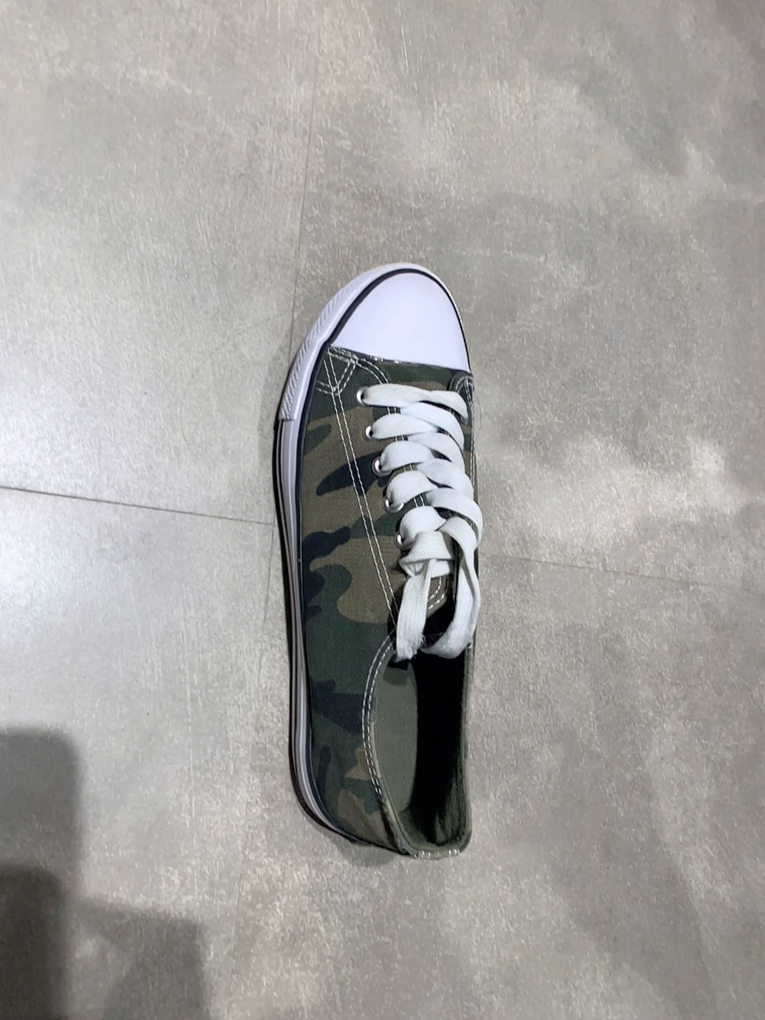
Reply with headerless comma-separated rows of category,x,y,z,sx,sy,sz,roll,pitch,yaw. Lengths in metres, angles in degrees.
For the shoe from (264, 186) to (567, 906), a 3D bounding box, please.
shoe,0.008,0.012,0.344,0.099,0.079,0.266,3,80,-24
